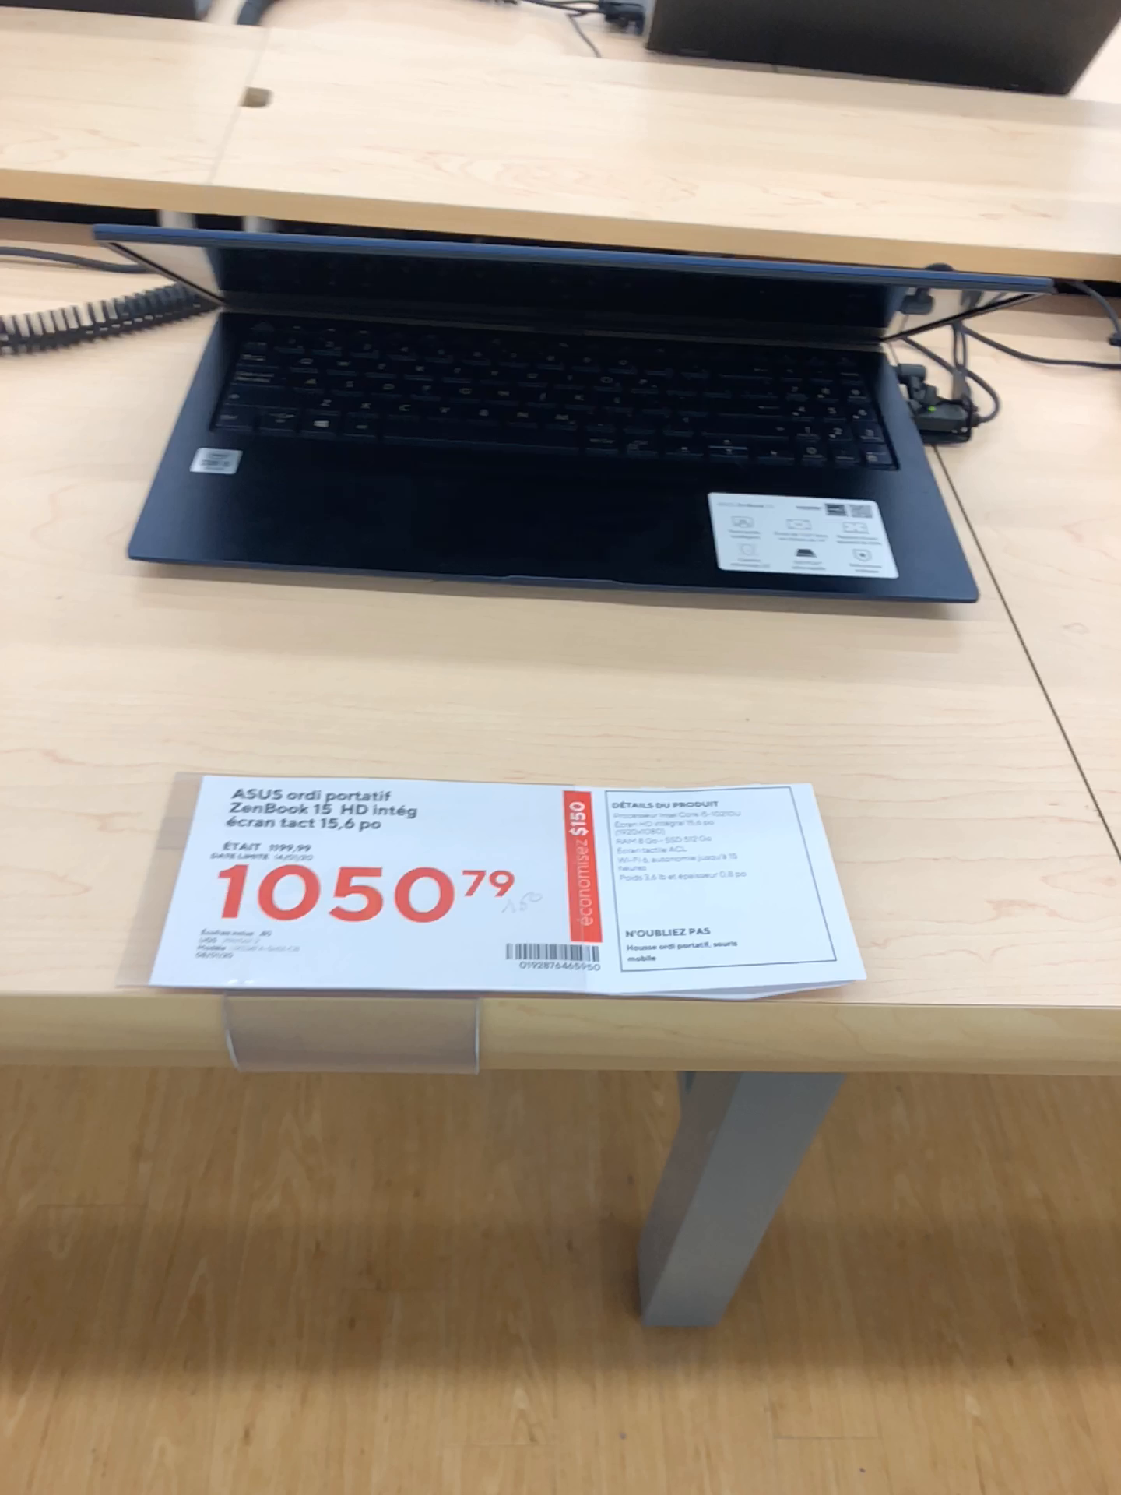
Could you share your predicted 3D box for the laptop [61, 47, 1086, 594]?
[{"bbox_3d":[0.006,-0.185,0.526,0.346,0.119,0.204,3,47,-4],"label":"laptop"}]
